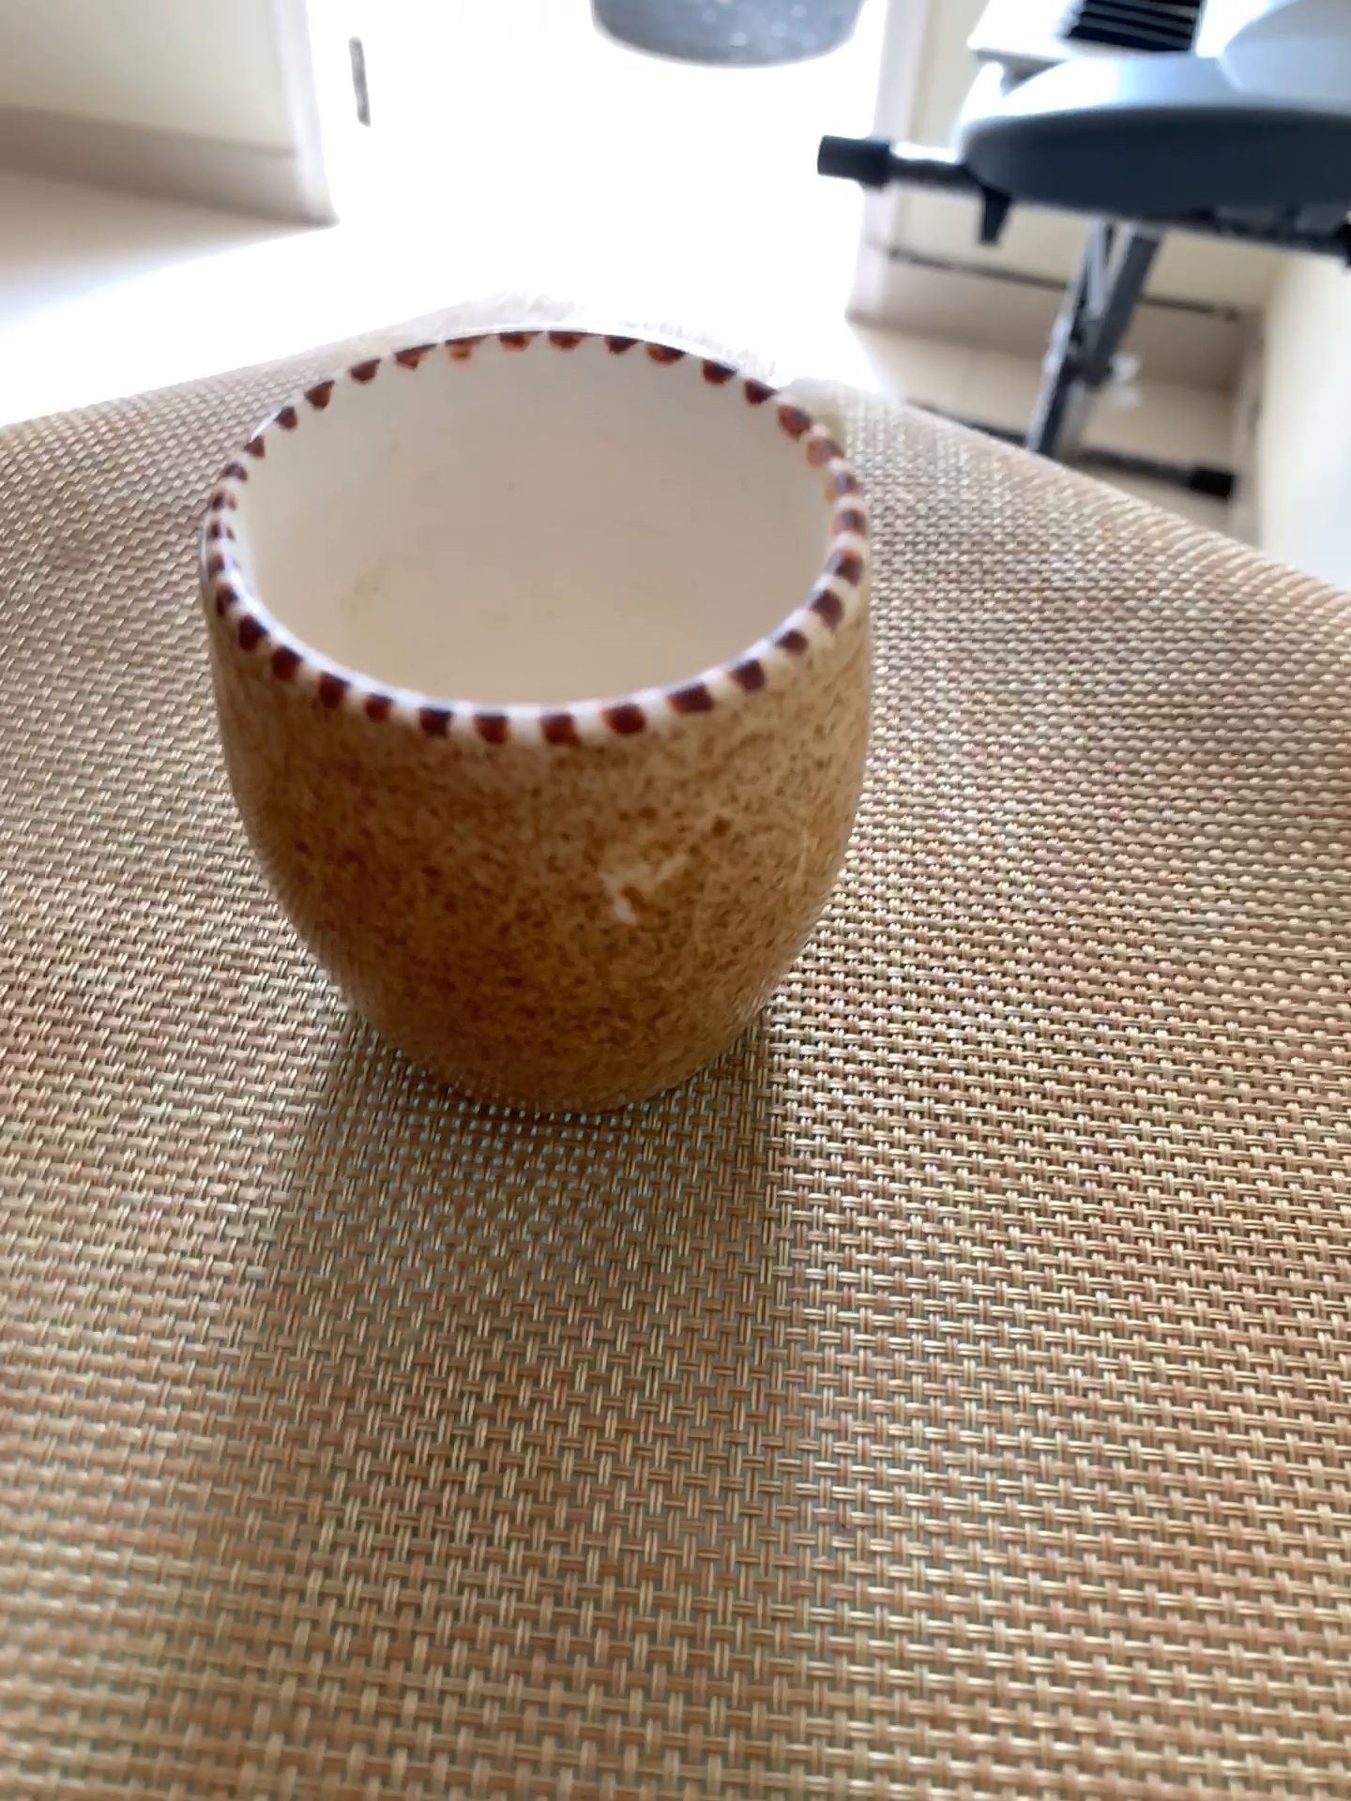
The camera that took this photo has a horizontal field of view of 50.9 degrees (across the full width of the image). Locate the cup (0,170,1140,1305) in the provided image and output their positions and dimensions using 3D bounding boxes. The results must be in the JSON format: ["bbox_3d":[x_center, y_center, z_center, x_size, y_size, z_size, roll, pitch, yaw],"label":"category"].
[{"bbox_3d":[-0.010,-0.023,0.162,0.070,0.069,0.090,34,56,23],"label":"cup"}]
